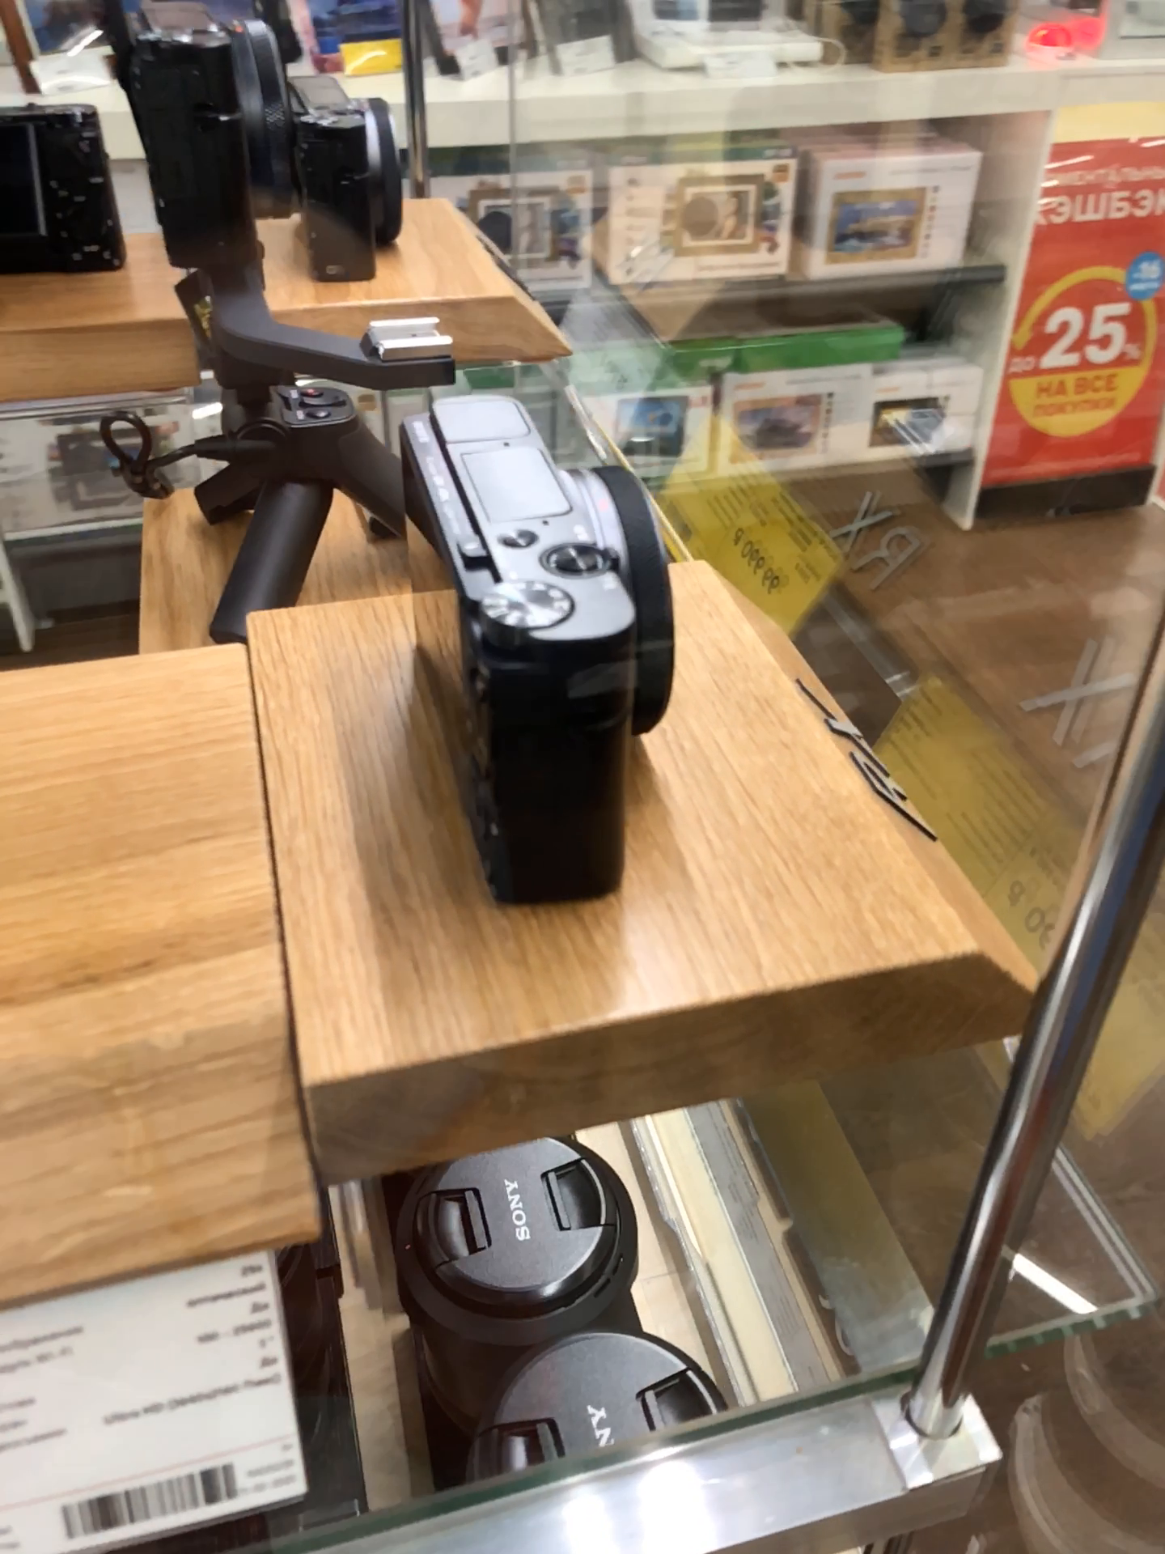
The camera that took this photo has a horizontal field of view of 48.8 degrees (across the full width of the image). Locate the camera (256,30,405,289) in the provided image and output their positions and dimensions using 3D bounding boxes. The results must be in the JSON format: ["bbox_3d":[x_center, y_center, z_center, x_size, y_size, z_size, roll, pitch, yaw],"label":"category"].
[{"bbox_3d":[-0.110,-0.268,0.550,0.040,0.070,0.143,-9,39,-12],"label":"camera"}]

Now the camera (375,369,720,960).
[{"bbox_3d":[-0.011,-0.027,0.255,0.040,0.070,0.101,-9,39,-12],"label":"camera"}]
